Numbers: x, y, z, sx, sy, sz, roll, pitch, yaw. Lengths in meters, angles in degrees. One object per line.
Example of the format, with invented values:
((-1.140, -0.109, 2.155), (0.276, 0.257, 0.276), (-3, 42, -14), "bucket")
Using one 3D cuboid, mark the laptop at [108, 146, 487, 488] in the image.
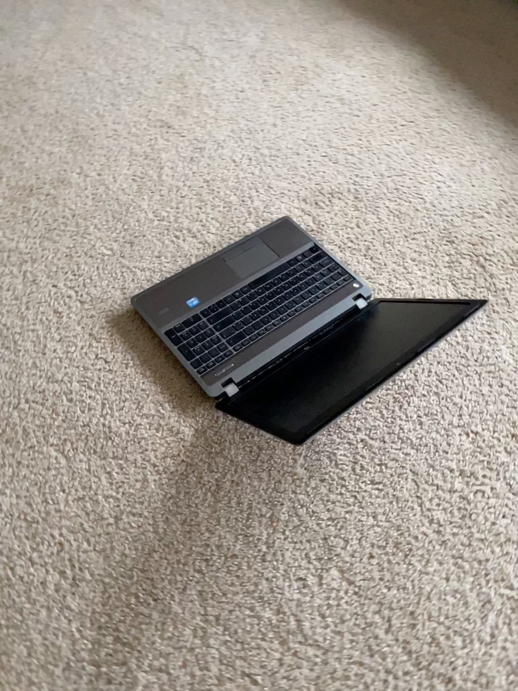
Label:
((0.049, -0.077, 0.853), (0.375, 0.162, 0.436), (-33, 64, -23), "laptop")
